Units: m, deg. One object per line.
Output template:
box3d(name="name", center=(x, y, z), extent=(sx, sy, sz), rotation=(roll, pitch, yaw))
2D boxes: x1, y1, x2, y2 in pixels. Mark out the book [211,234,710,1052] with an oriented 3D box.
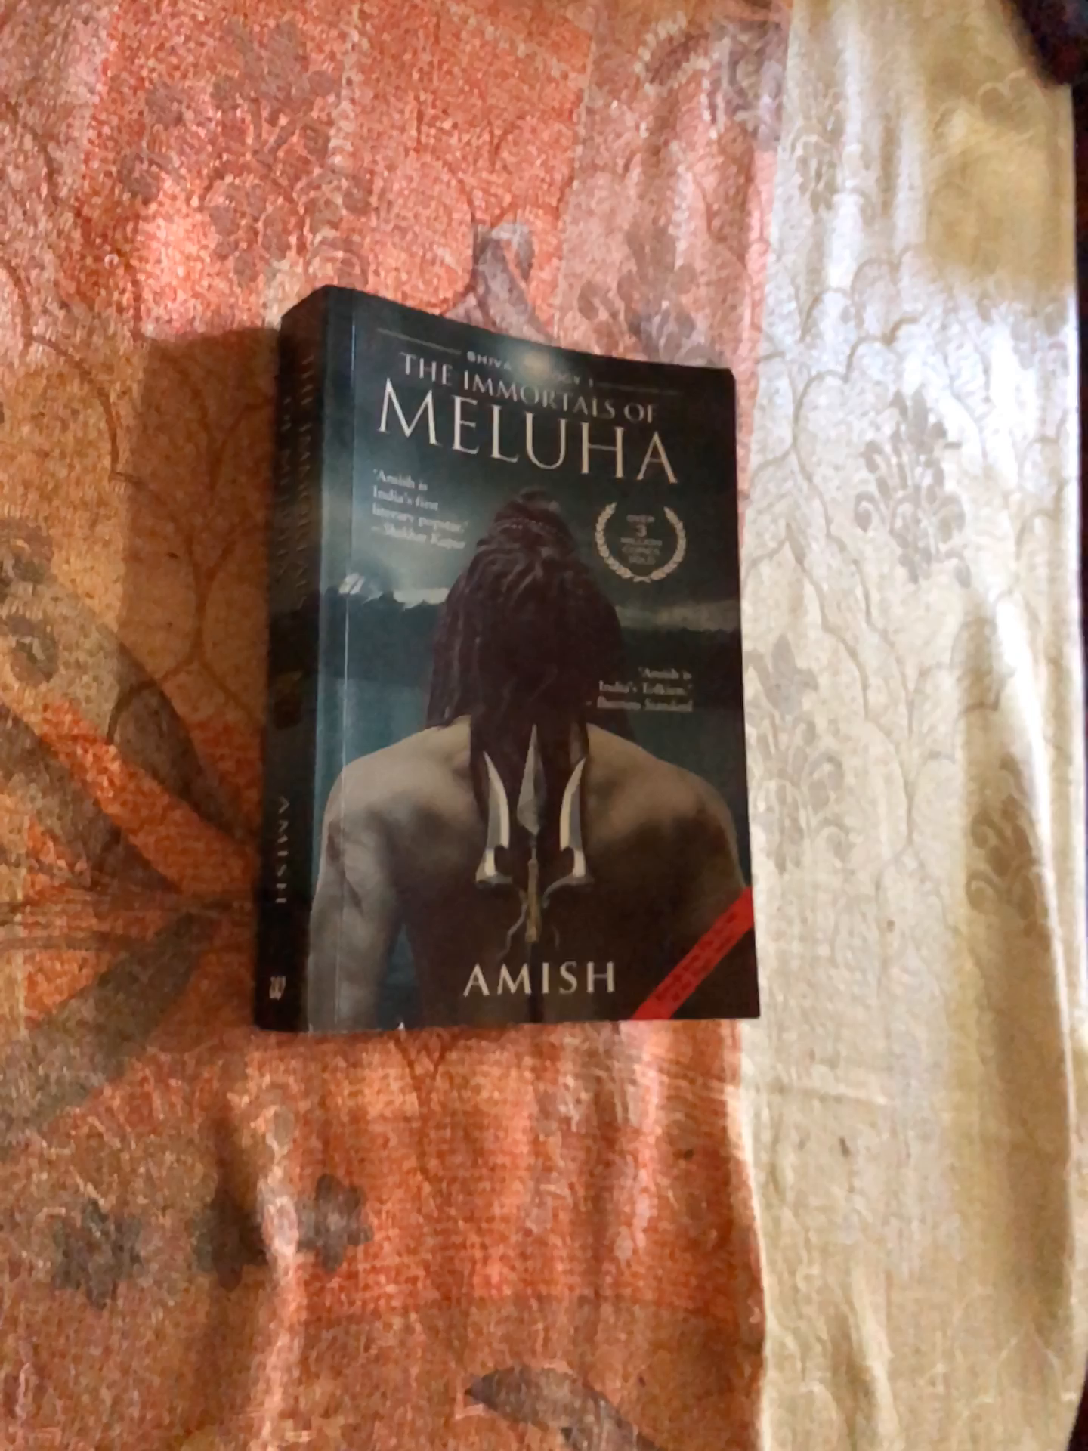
box3d(name="book", center=(-0.020, -0.017, 0.342), extent=(0.131, 0.040, 0.200), rotation=(6, 79, -34))
